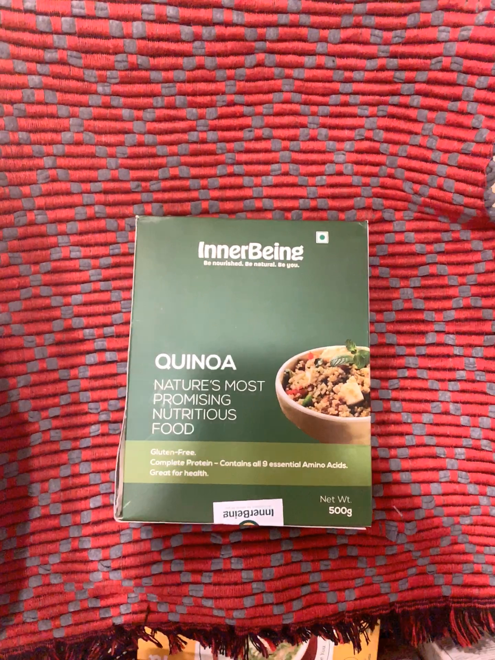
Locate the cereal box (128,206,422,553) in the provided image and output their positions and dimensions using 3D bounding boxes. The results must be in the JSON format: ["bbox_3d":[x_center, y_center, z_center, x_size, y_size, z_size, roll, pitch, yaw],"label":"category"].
[{"bbox_3d":[0.016,0.024,0.292,0.150,0.040,0.180,1,83,1],"label":"cereal box"}]
